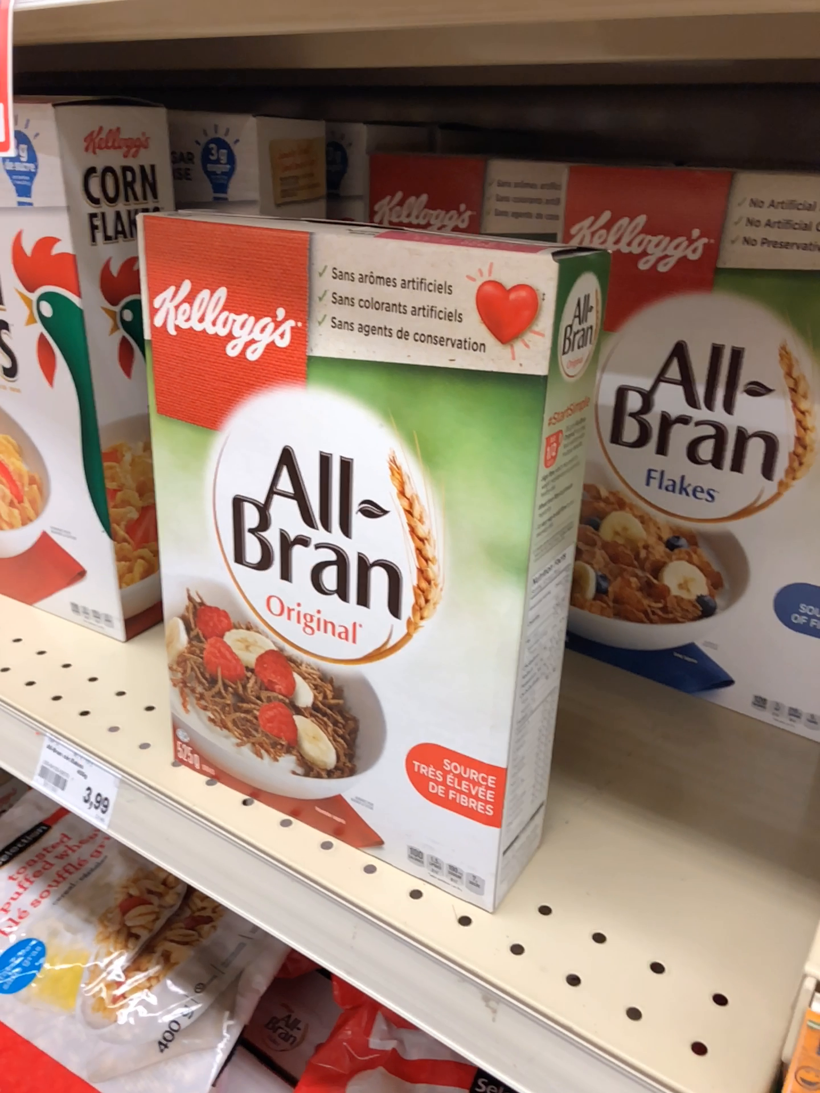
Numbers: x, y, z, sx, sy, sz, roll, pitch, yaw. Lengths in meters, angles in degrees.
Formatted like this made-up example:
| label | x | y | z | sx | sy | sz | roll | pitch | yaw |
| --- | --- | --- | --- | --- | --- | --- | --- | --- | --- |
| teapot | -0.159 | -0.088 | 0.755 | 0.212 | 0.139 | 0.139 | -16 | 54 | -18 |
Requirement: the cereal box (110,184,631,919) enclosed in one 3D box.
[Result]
| label | x | y | z | sx | sy | sz | roll | pitch | yaw |
| --- | --- | --- | --- | --- | --- | --- | --- | --- | --- |
| cereal box | -0.023 | -0.004 | 0.399 | 0.190 | 0.278 | 0.070 | 15 | 27 | 28 |
